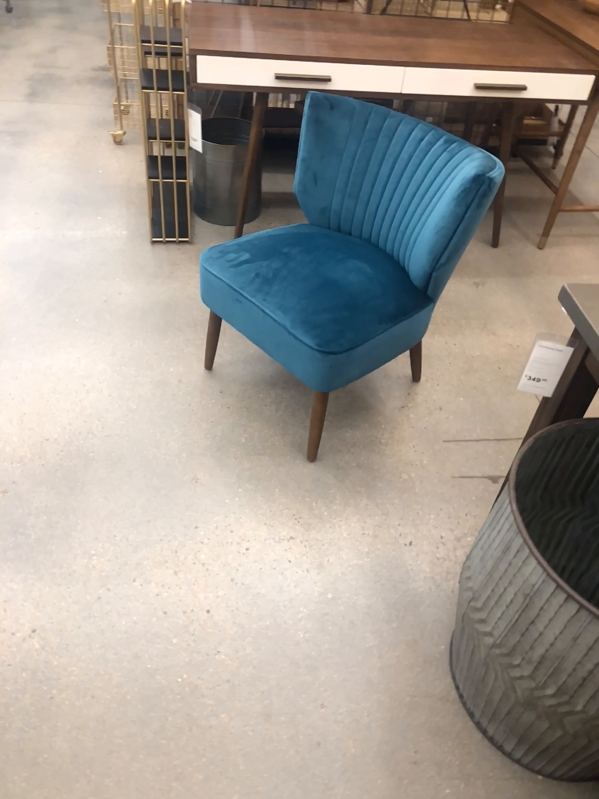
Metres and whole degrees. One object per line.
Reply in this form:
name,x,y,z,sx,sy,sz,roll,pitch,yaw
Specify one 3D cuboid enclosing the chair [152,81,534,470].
chair,0.083,-0.381,1.820,0.662,0.677,0.661,-29,52,-32
